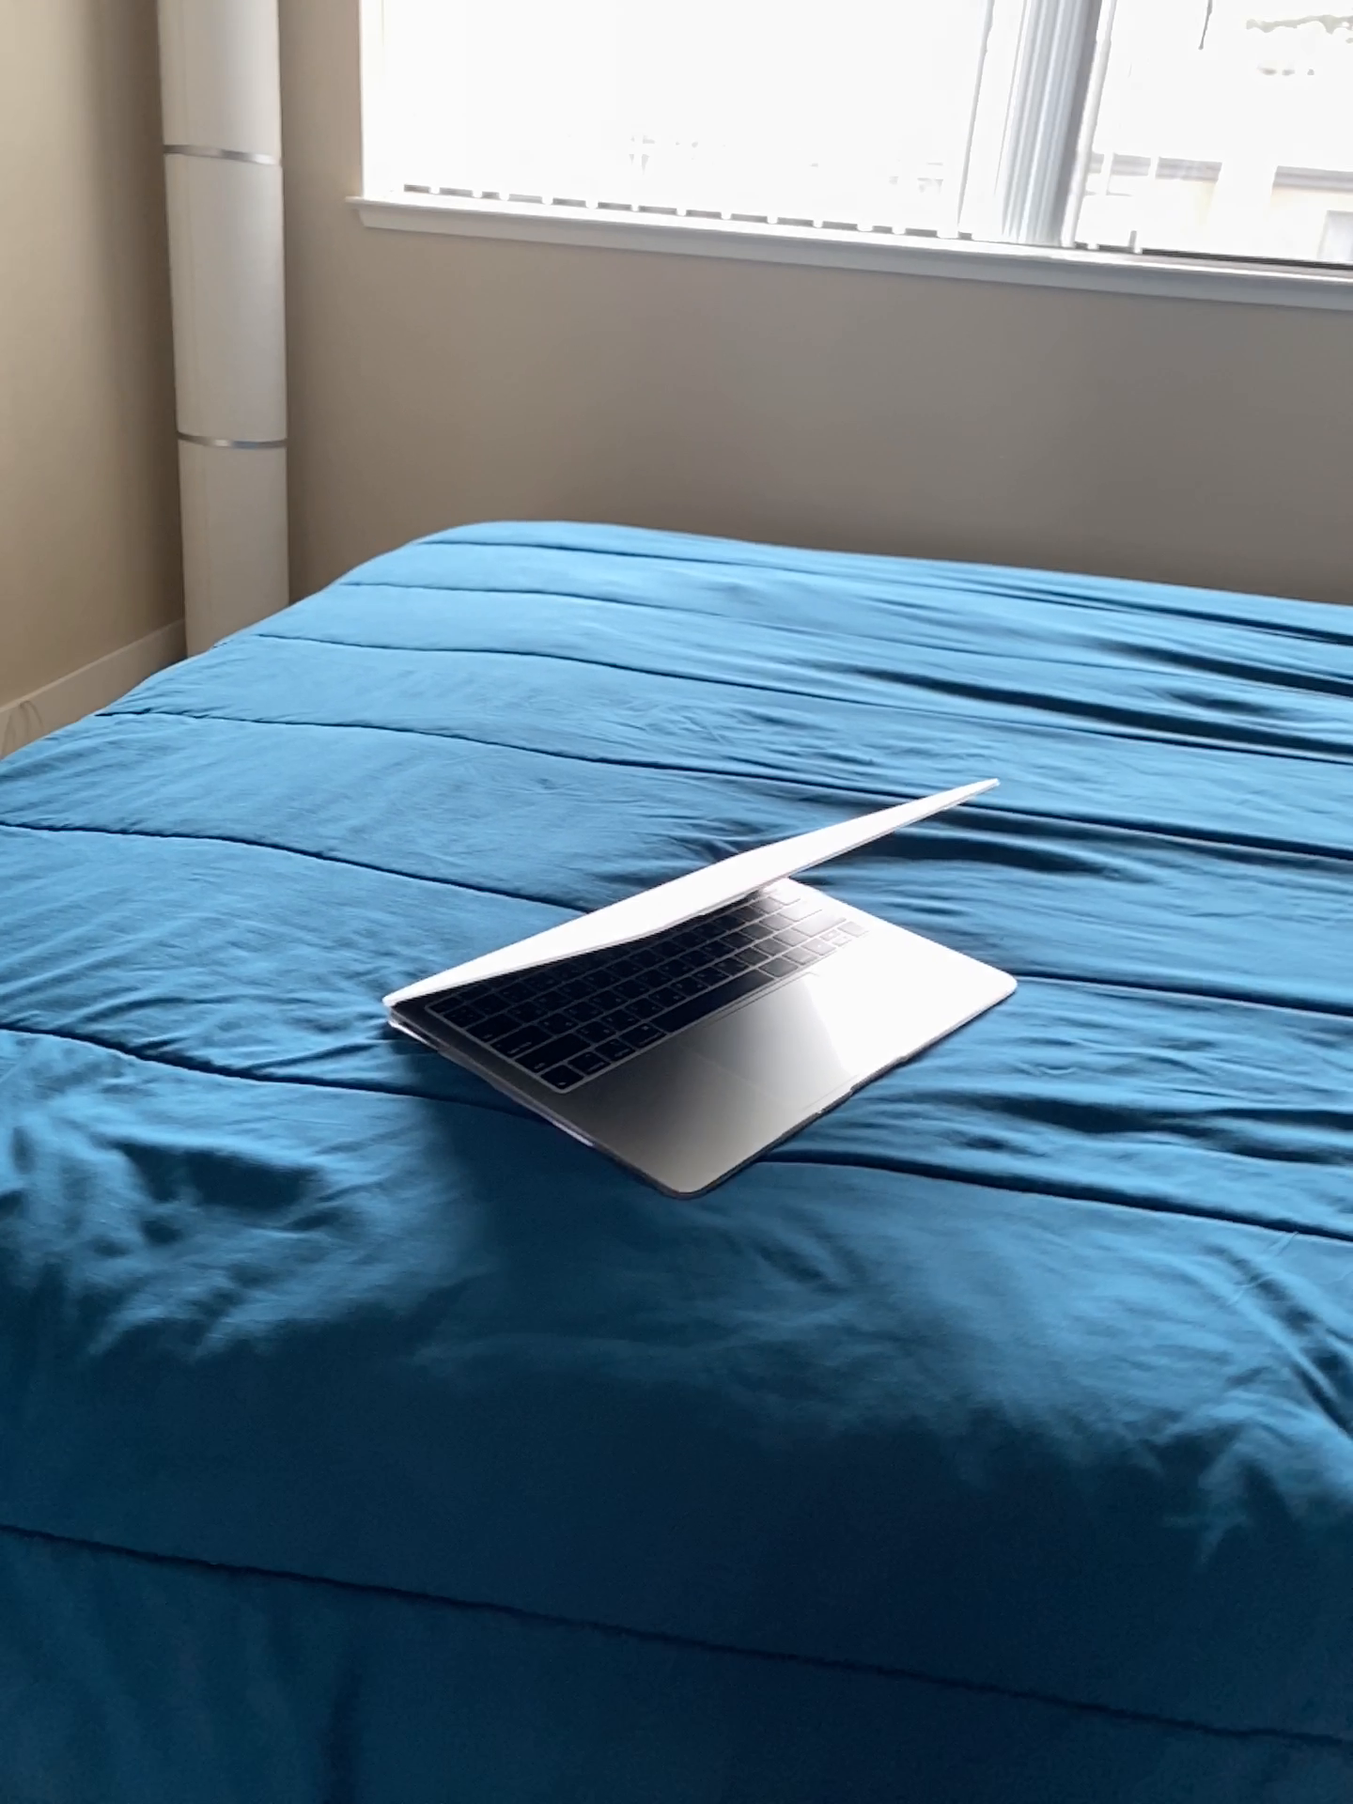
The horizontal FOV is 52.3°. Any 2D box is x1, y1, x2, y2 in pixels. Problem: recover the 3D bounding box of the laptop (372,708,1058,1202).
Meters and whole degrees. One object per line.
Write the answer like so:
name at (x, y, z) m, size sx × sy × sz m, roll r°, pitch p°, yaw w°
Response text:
laptop at (0.029, 0.004, 0.768) m, size 0.219 × 0.106 × 0.311 m, roll 26°, pitch 33°, yaw 34°
